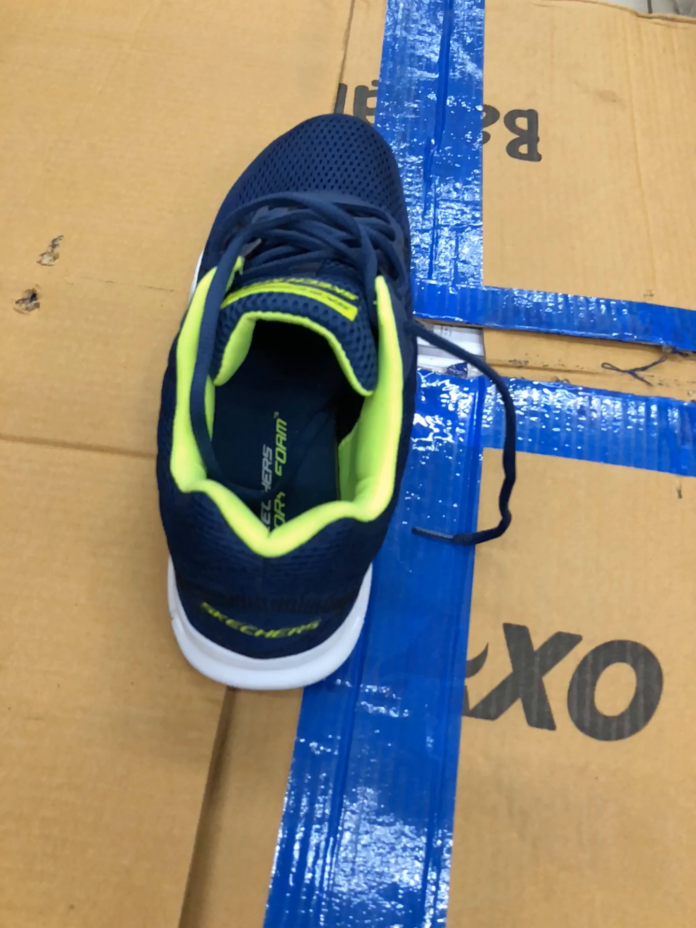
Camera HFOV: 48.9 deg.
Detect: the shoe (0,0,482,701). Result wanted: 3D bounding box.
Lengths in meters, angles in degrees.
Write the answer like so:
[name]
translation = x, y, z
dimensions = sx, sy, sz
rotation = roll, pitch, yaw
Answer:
[shoe]
translation = -0.016, -0.080, 0.307
dimensions = 0.106, 0.146, 0.308
rotation = 6, 63, -1
